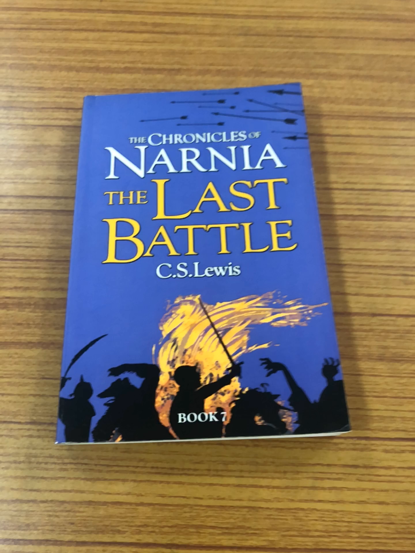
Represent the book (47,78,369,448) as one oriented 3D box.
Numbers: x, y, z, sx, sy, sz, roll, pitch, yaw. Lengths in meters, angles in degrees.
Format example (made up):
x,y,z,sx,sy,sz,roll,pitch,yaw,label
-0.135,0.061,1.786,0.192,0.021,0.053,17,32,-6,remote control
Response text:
x,y,z,sx,sy,sz,roll,pitch,yaw,label
-0.003,-0.017,0.253,0.140,0.030,0.200,-2,69,0,book
